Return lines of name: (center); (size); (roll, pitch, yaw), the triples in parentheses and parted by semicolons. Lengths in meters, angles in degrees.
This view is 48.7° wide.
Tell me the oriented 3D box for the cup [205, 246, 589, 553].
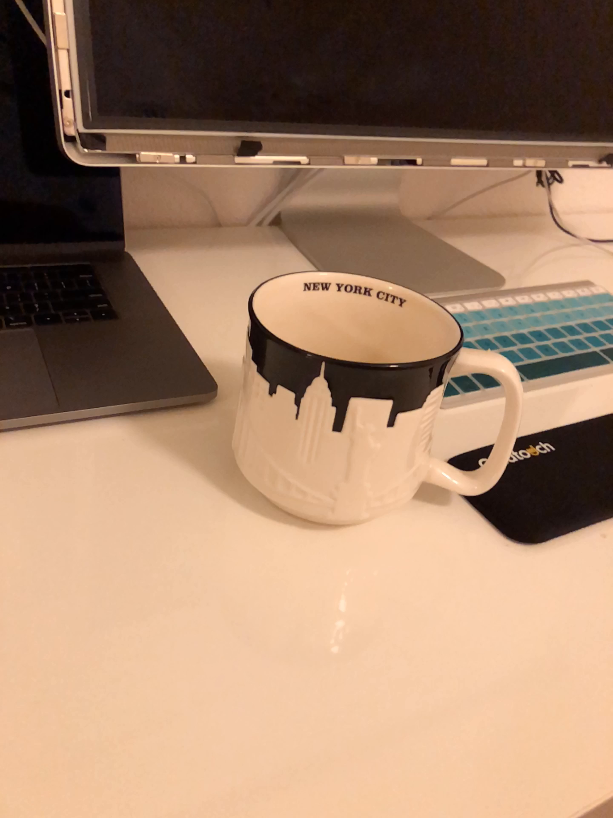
cup: (0.035, -0.009, 0.339); (0.150, 0.089, 0.111); (8, 33, -2)
